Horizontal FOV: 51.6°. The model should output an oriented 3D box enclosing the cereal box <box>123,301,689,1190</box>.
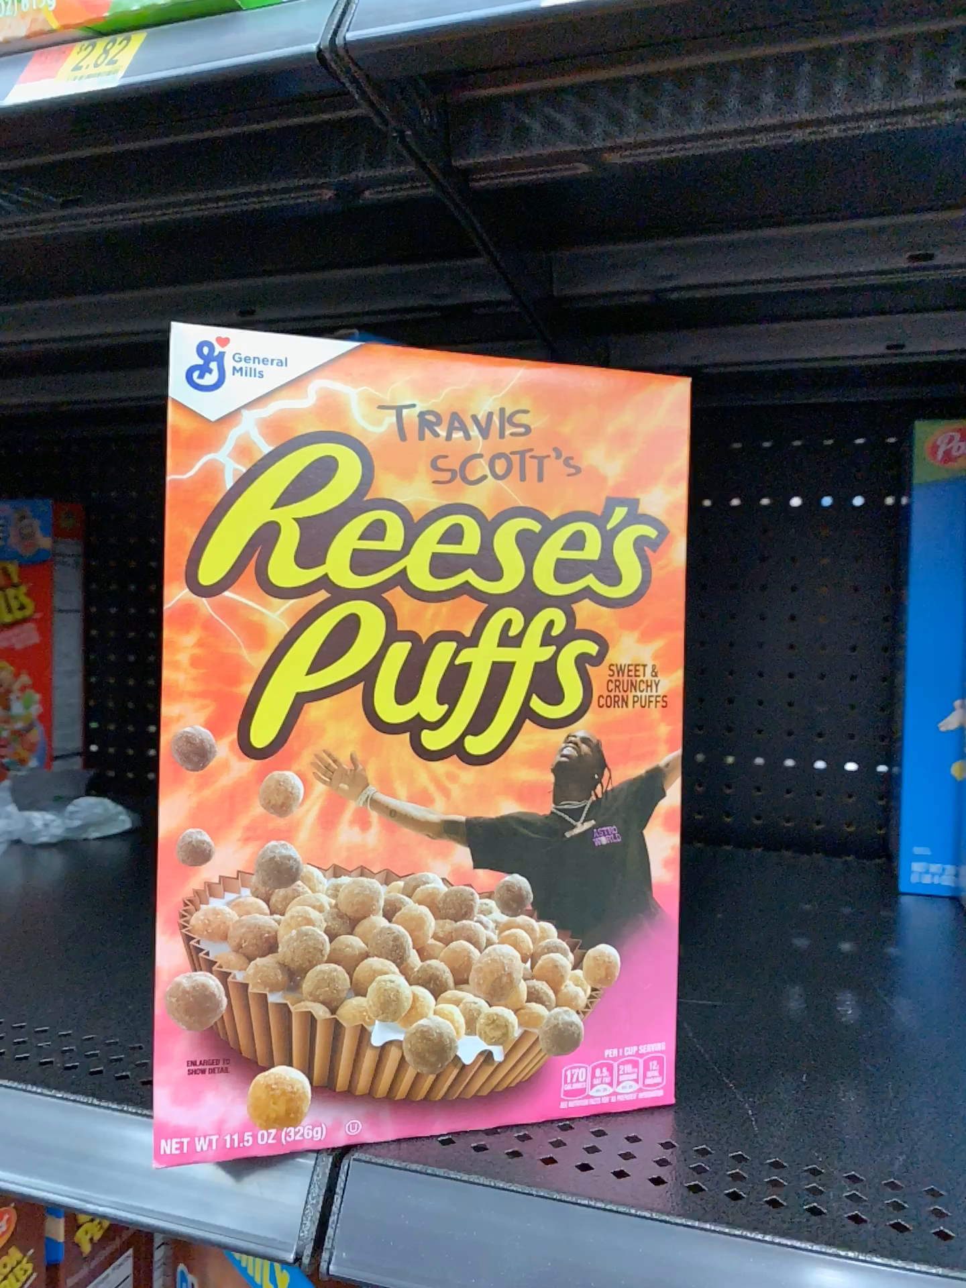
[{"bbox_3d":[-0.026,0.033,0.376,0.200,0.290,0.050,0,-1,-15],"label":"cereal box"}]
